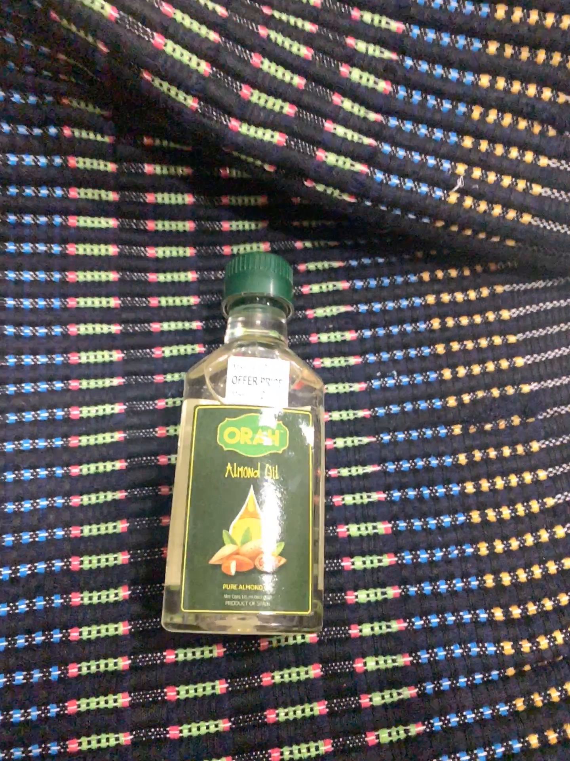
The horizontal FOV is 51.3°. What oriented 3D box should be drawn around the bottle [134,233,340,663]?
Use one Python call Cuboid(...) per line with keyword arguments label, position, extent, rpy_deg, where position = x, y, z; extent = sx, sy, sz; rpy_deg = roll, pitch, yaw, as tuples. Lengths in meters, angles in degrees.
Cuboid(label="bottle", position=(-0.015, 0.019, 0.216), extent=(0.060, 0.030, 0.150), rpy_deg=(2, 67, -5))
